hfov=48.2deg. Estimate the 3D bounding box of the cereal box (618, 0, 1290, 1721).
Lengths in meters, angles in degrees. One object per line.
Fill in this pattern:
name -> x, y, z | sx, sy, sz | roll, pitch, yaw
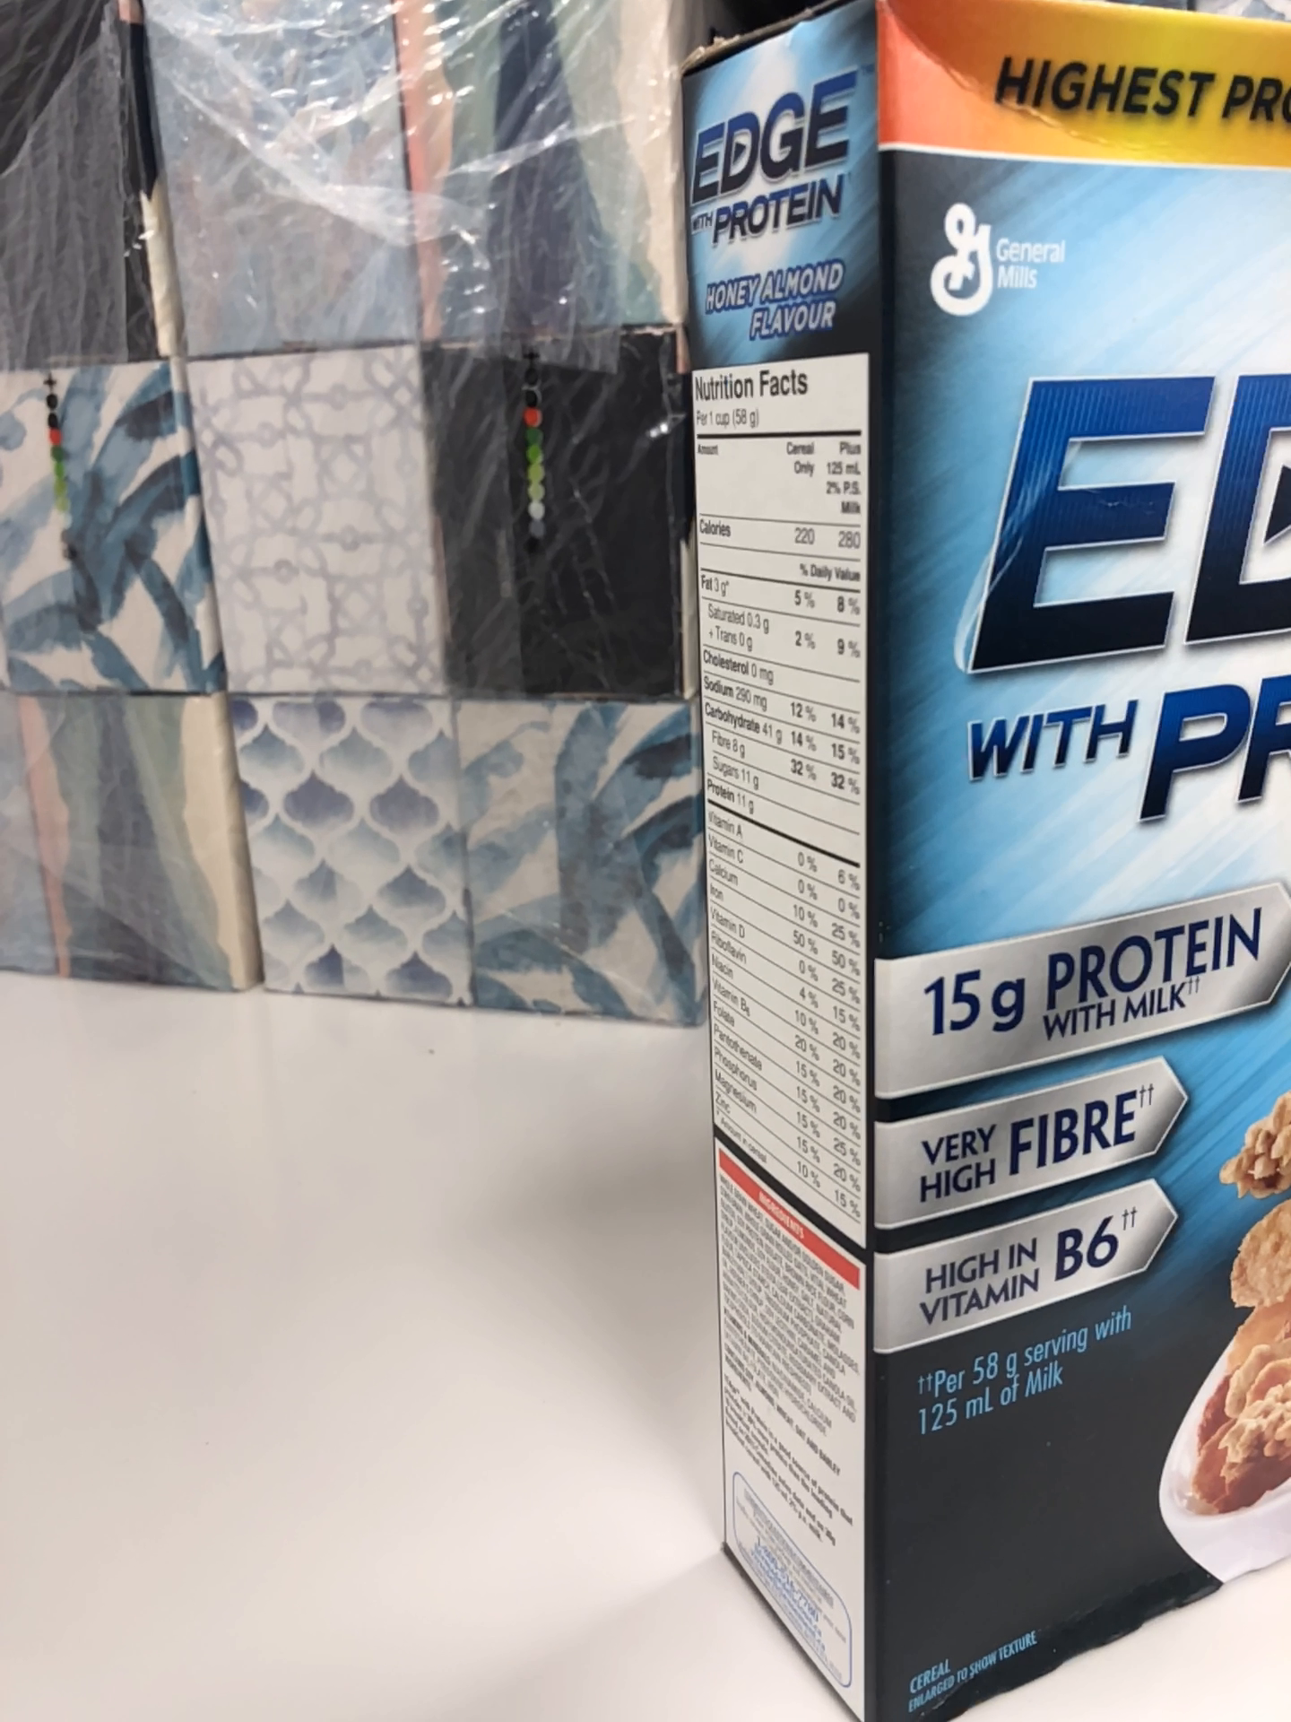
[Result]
cereal box -> 0.103, 0.005, 0.263 | 0.200, 0.279, 0.050 | -11, 19, -24
